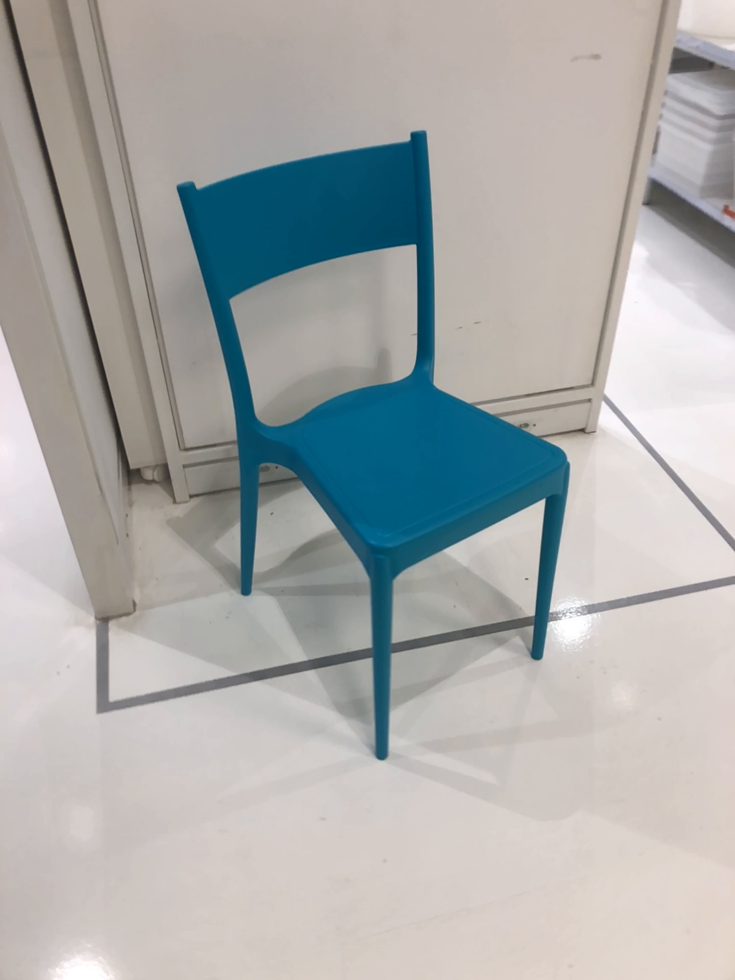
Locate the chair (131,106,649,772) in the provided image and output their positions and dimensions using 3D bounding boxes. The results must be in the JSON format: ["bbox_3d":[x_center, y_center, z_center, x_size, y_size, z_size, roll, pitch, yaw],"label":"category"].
[{"bbox_3d":[0.013,-0.083,1.256,0.431,0.793,0.513,-24,44,-25],"label":"chair"}]
